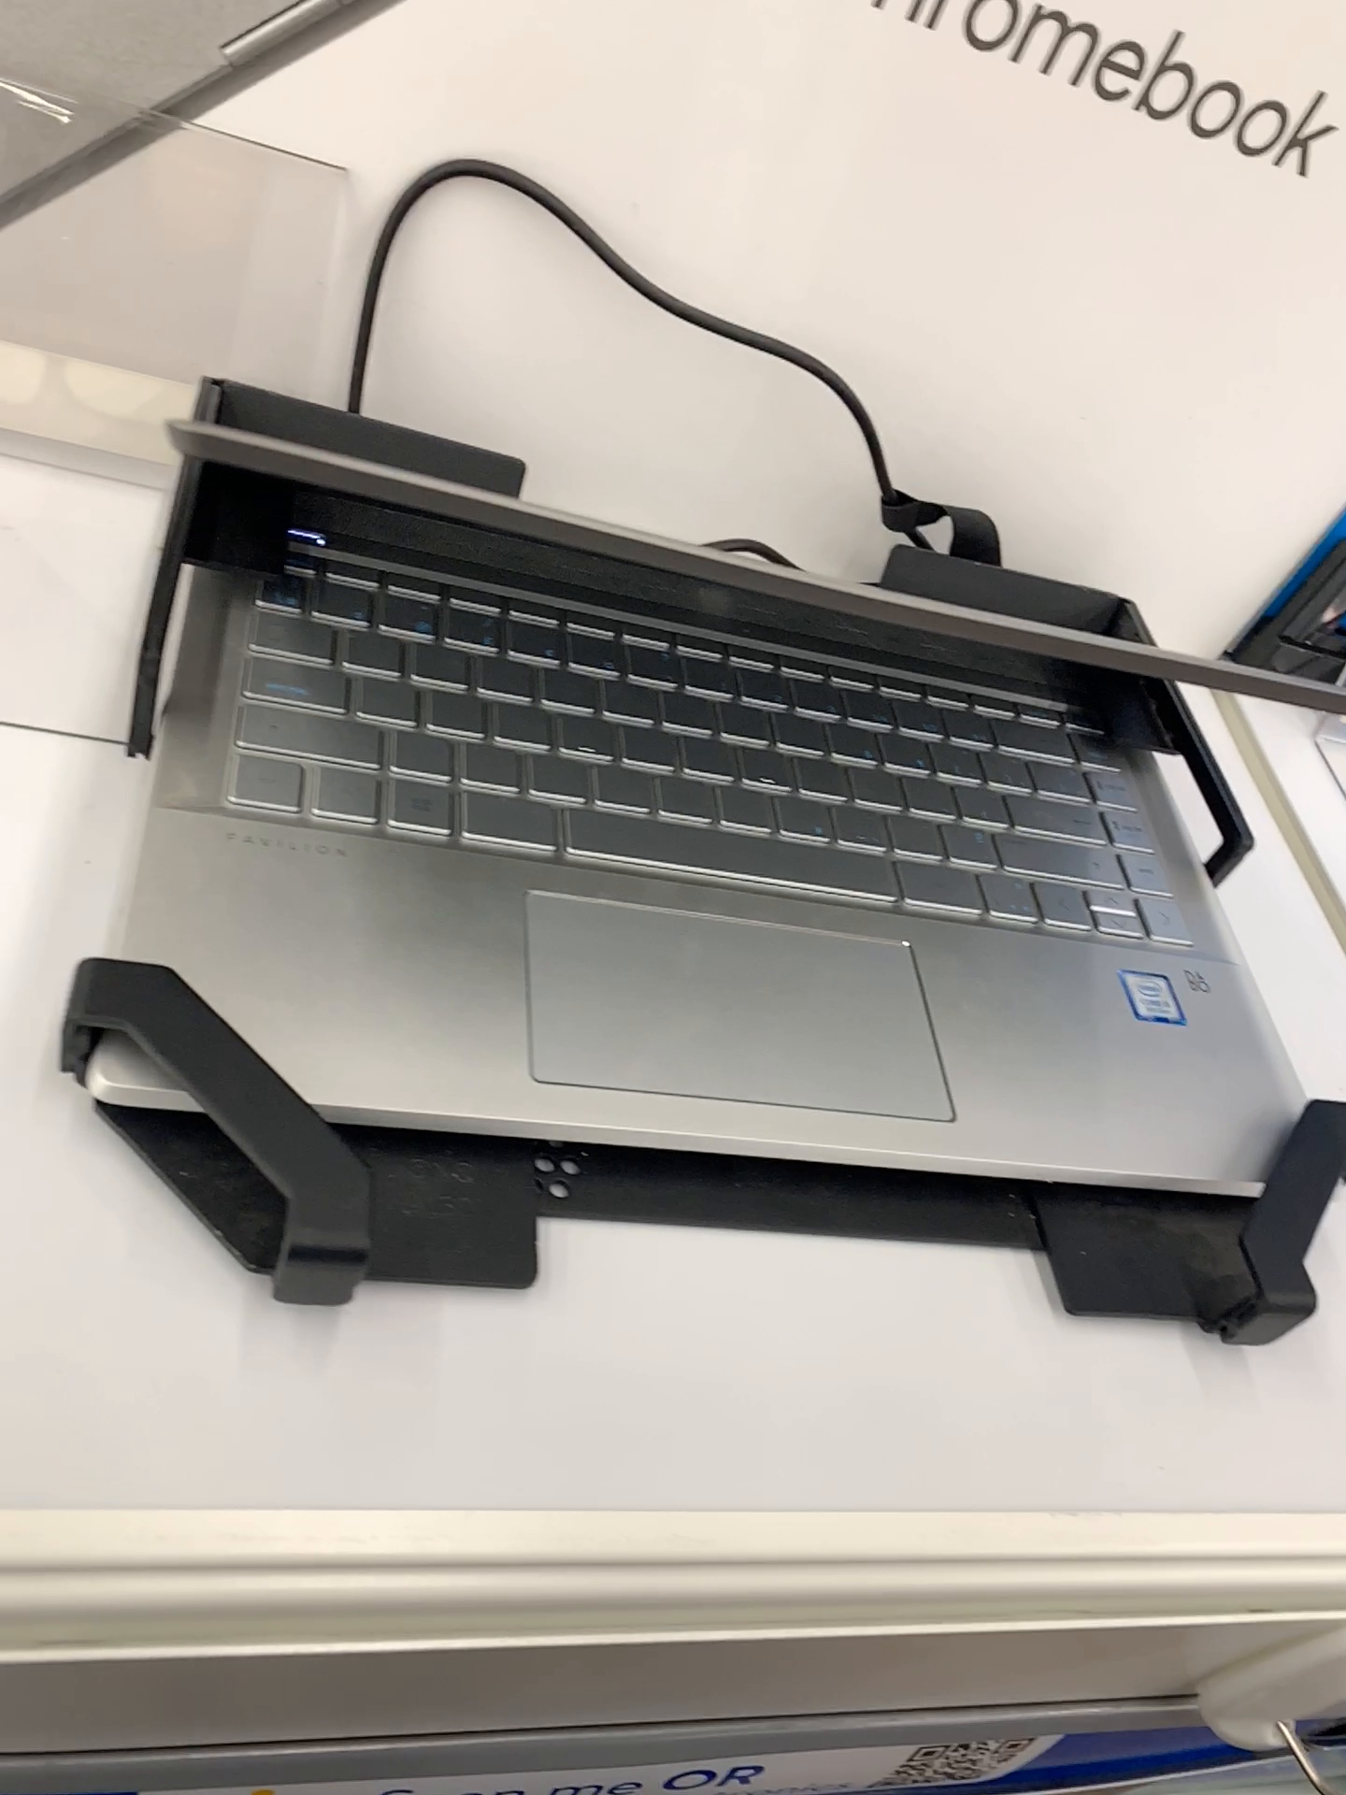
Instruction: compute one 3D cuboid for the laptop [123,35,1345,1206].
[{"bbox_3d":[0.039,-0.058,0.322,0.283,0.111,0.194,8,49,-16],"label":"laptop"}]
